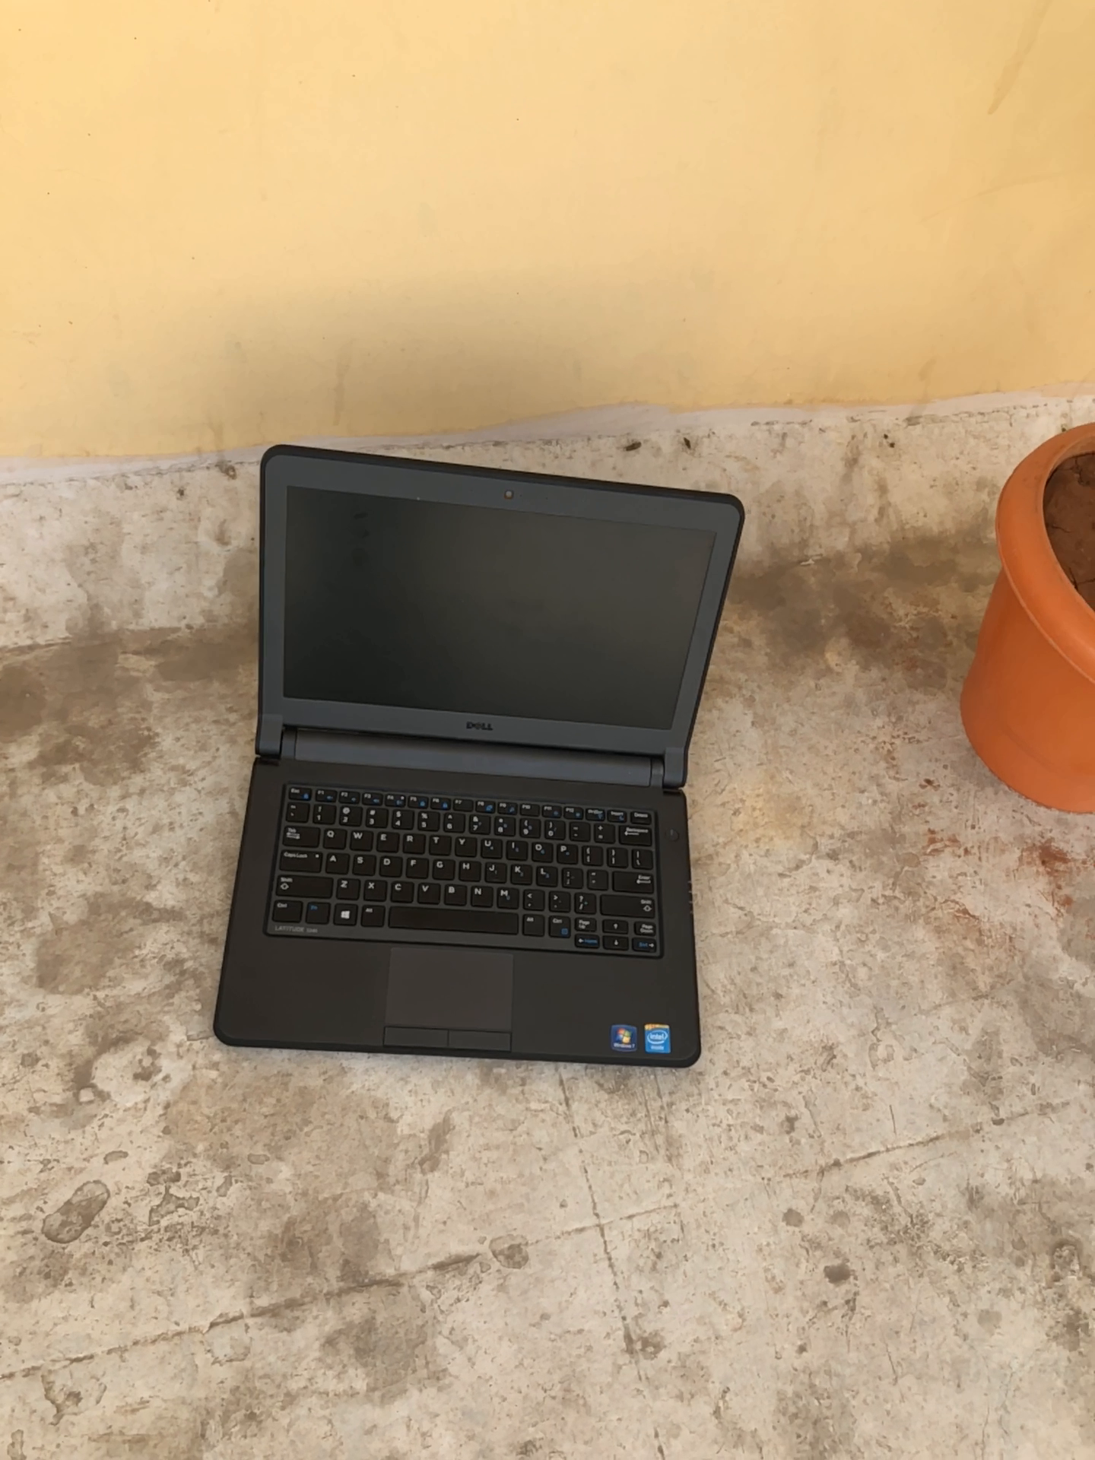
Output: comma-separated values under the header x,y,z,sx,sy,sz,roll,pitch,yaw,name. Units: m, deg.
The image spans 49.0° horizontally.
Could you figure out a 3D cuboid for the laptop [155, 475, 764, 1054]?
x,y,z,sx,sy,sz,roll,pitch,yaw,name
-0.054,0.026,0.782,0.308,0.208,0.300,4,55,-6,laptop
